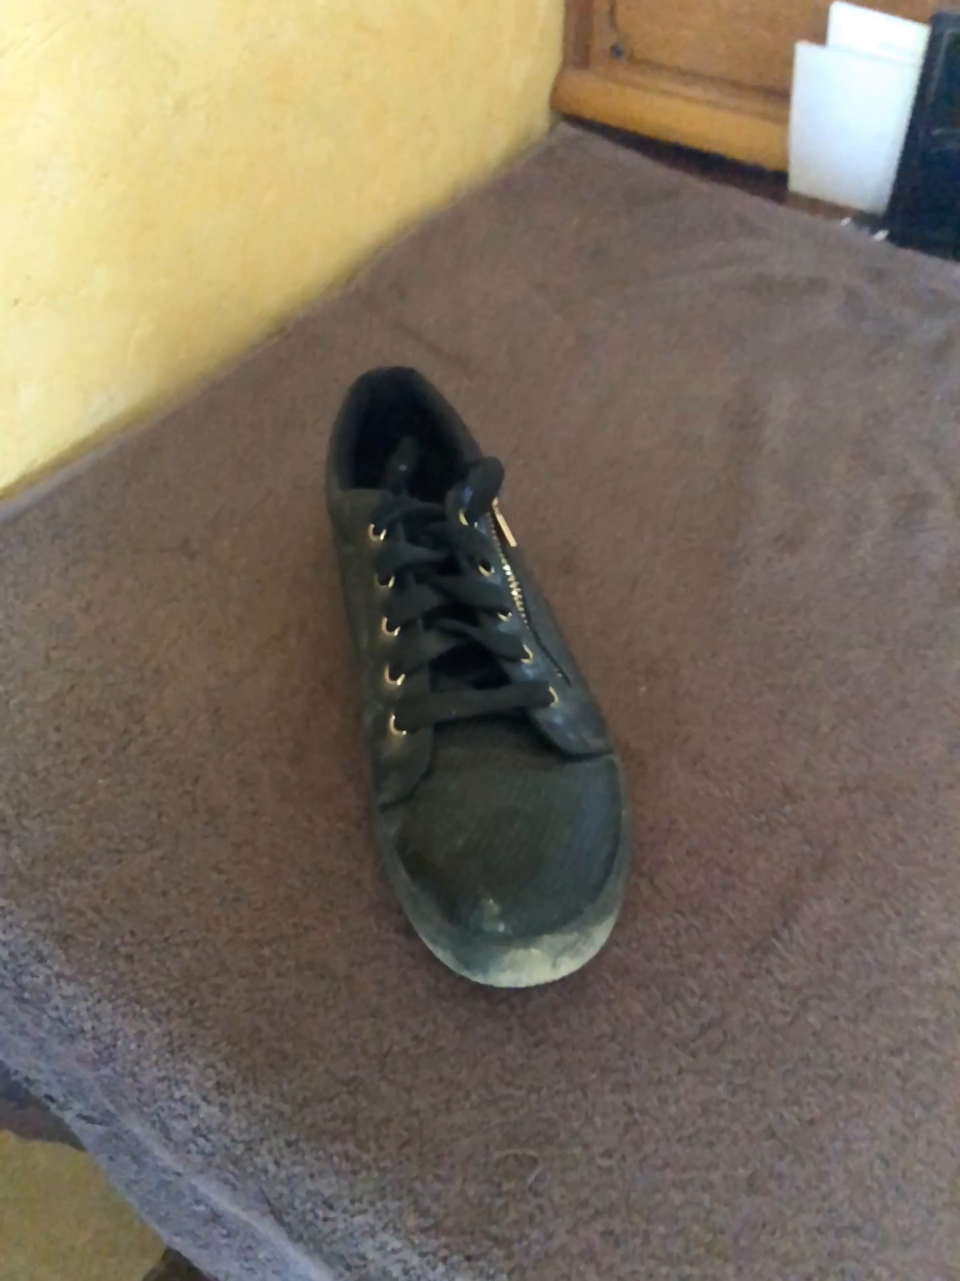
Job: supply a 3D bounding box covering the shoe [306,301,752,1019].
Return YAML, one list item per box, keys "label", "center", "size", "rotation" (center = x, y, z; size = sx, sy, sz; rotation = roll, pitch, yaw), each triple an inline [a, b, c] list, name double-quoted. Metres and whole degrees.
- label: "shoe"
  center: [0.001, -0.013, 0.410]
  size: [0.100, 0.089, 0.271]
  rotation: [-9, 49, -7]
